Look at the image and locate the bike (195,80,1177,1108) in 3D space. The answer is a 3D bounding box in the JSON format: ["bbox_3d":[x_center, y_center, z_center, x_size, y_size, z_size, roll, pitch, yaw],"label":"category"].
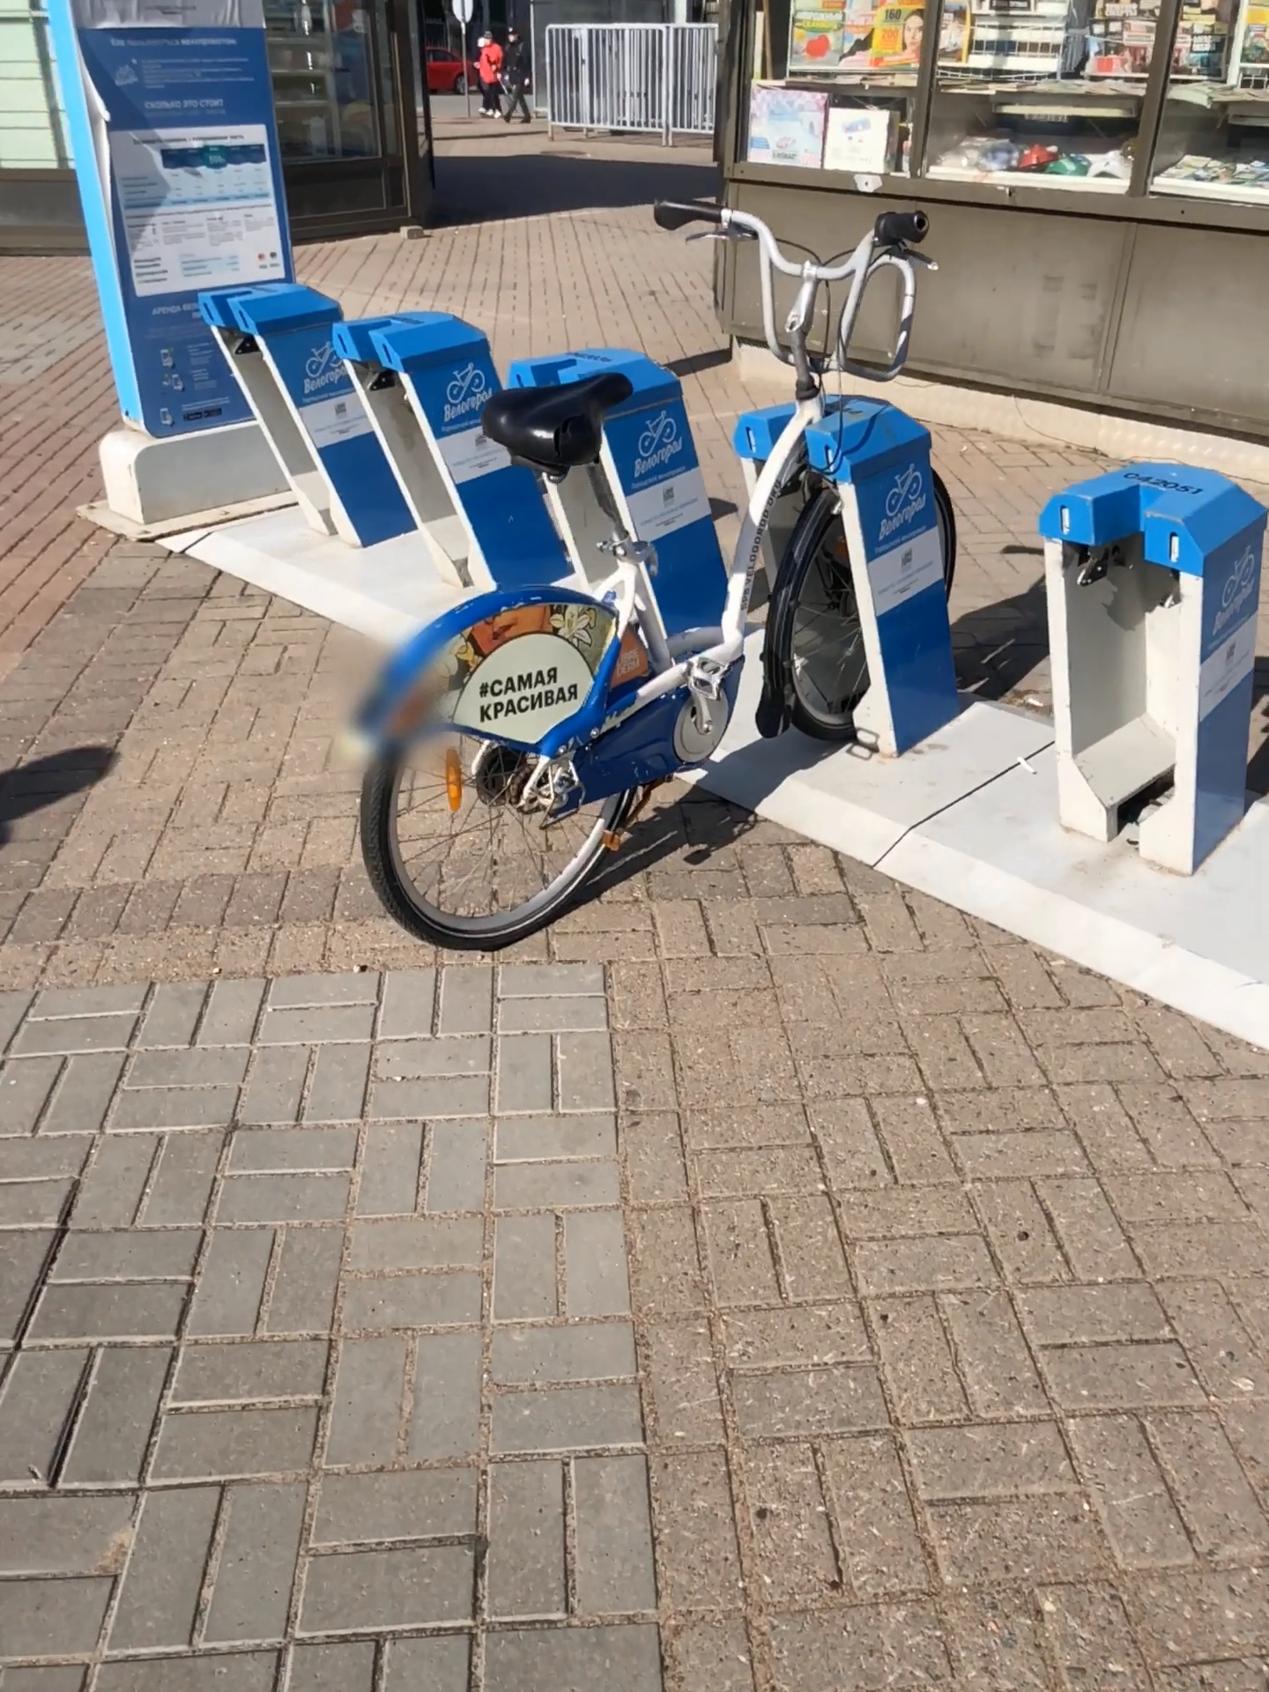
[{"bbox_3d":[0.173,-0.581,2.497,0.597,1.203,1.631,26,42,38],"label":"bike"}]
